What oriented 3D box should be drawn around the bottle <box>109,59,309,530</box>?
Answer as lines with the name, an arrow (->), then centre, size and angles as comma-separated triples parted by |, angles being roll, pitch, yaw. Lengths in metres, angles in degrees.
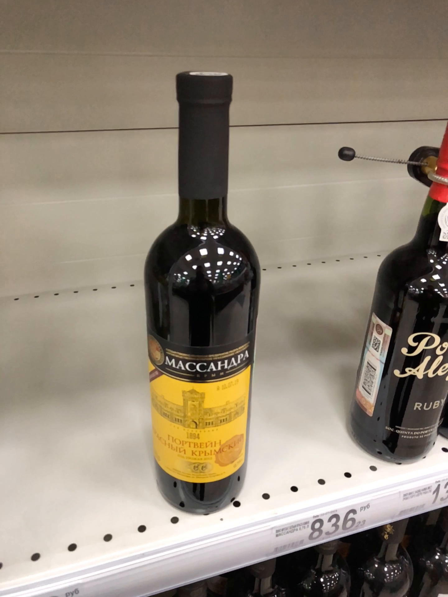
bottle -> -0.014, 0.016, 0.374 | 0.100, 0.348, 0.101 | 1, 29, -1
